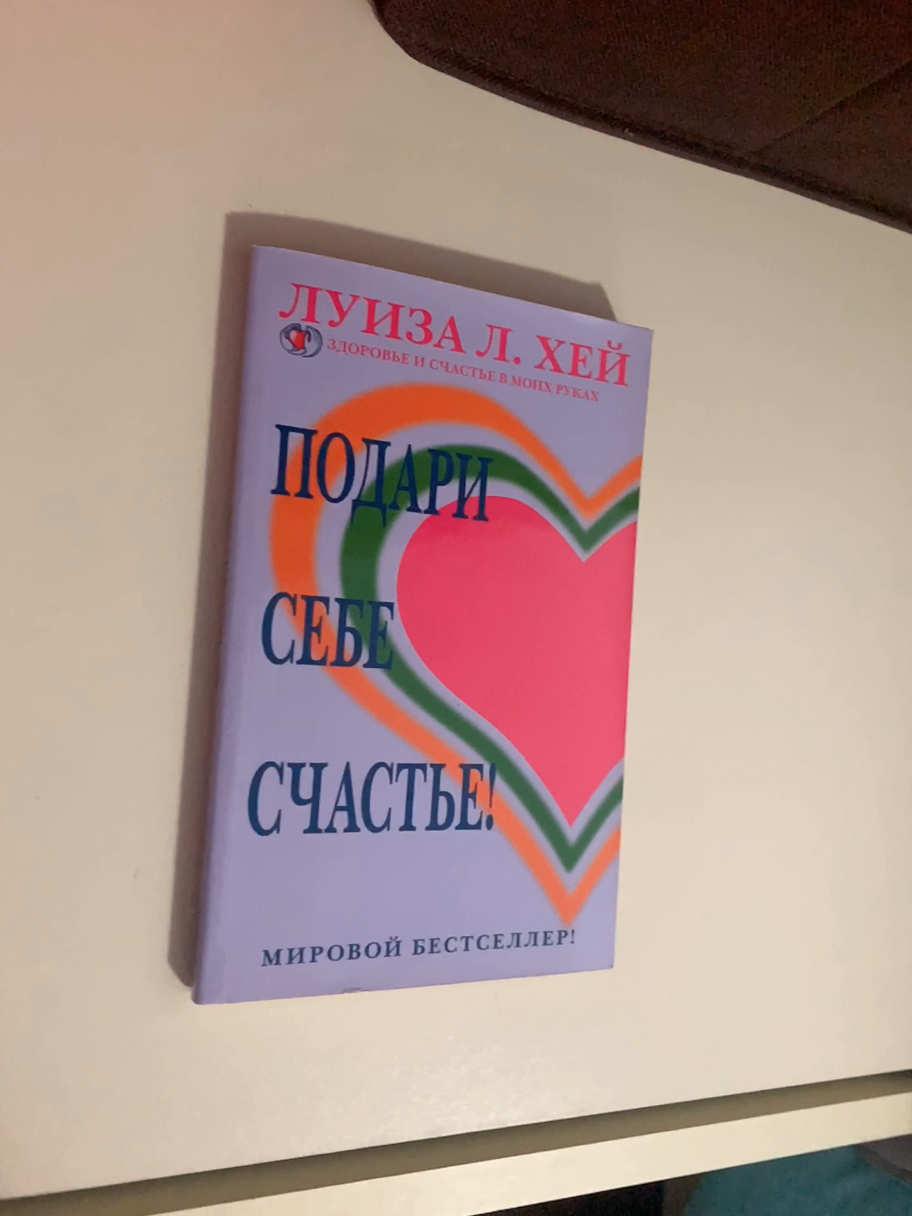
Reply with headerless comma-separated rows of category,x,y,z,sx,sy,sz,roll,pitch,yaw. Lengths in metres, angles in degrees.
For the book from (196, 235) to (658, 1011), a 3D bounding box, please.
book,-0.003,0.007,0.267,0.123,0.016,0.194,4,87,-24
